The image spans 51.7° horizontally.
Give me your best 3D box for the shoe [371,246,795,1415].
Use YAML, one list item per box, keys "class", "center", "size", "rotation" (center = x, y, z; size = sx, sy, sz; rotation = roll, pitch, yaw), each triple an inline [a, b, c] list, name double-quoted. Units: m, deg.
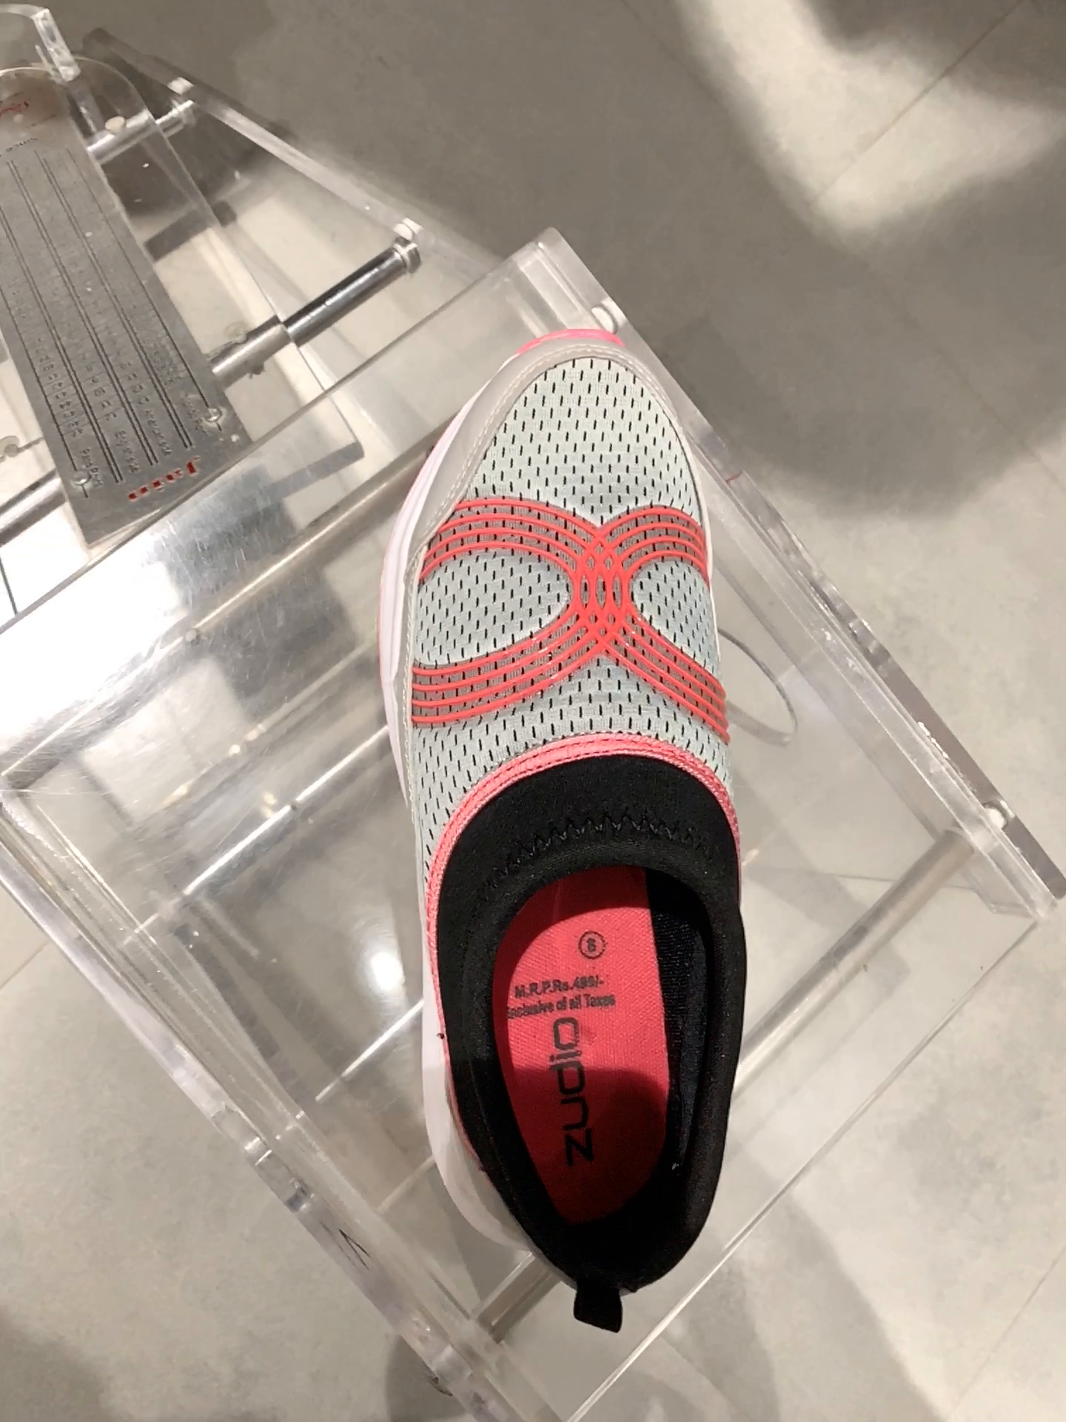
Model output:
- class: "shoe"
  center: [0.008, 0.027, 0.334]
  size: [0.100, 0.080, 0.300]
  rotation: [-1, 85, -14]
